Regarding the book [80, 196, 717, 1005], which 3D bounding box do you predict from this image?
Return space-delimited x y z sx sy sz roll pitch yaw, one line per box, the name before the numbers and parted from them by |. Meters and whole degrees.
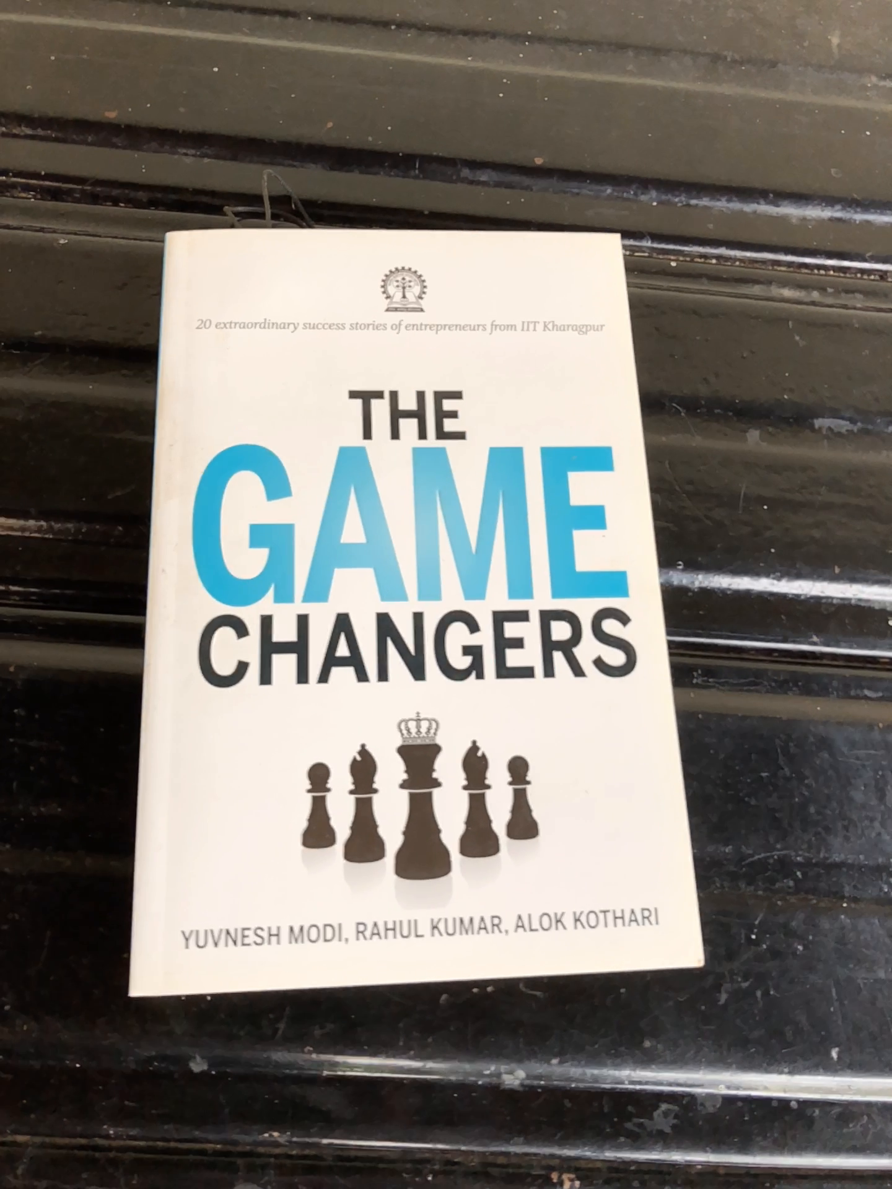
book | -0.014 -0.009 0.266 0.140 0.030 0.210 -1 72 -4
